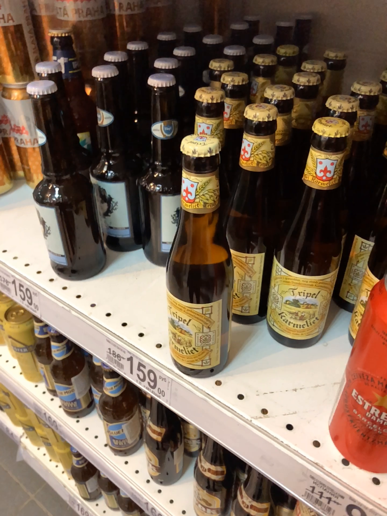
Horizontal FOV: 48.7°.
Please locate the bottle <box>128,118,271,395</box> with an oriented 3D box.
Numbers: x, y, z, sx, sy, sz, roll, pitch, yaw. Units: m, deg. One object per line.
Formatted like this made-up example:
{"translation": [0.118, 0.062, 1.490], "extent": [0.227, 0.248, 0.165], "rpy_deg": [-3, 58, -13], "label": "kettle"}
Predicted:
{"translation": [0.005, 0.007, 0.363], "extent": [0.070, 0.219, 0.070], "rpy_deg": [0, 37, 0], "label": "bottle"}
